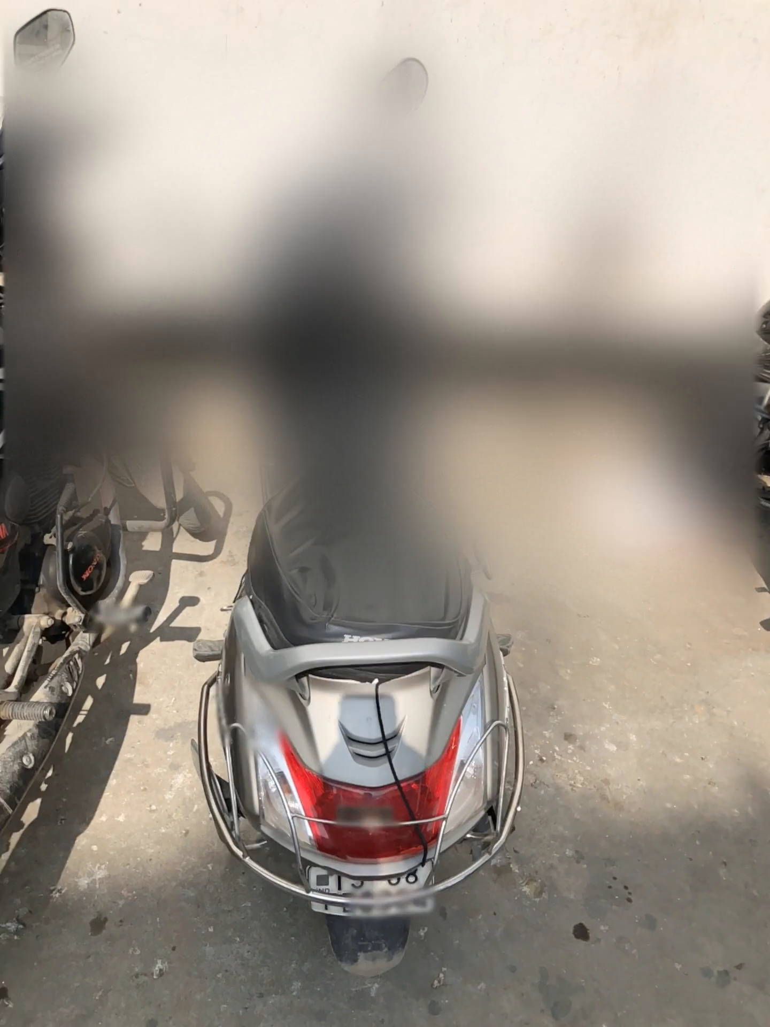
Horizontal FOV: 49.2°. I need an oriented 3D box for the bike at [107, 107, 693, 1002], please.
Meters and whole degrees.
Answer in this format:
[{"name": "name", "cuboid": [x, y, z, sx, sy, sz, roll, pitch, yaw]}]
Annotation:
[{"name": "bike", "cuboid": [-0.107, -0.047, 1.780, 0.616, 1.107, 1.507, 5, 37, -10]}]
